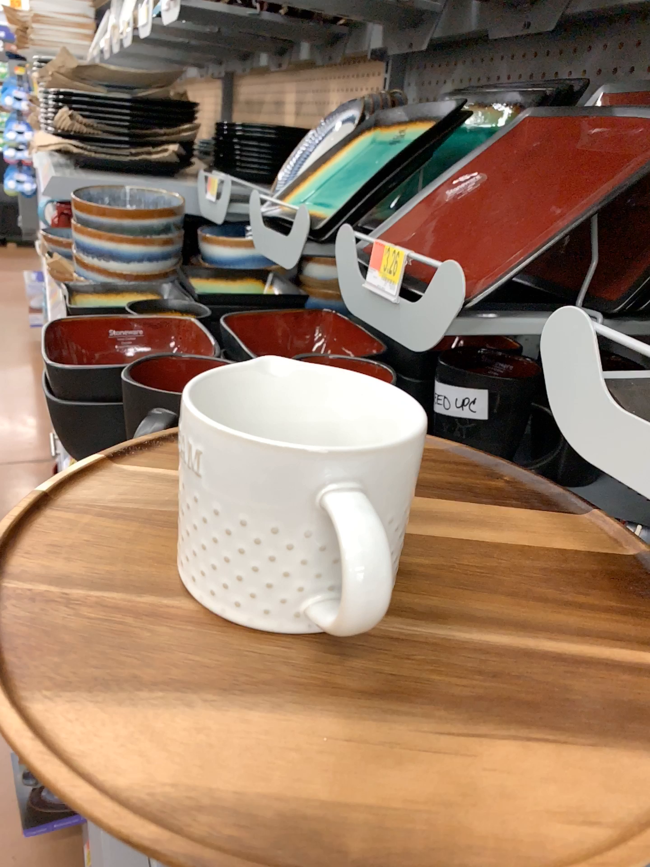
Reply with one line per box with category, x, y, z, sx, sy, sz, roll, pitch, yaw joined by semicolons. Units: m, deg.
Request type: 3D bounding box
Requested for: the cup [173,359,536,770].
cup;-0.006;0.036;0.280;0.100;0.090;0.151;-1;25;-17
